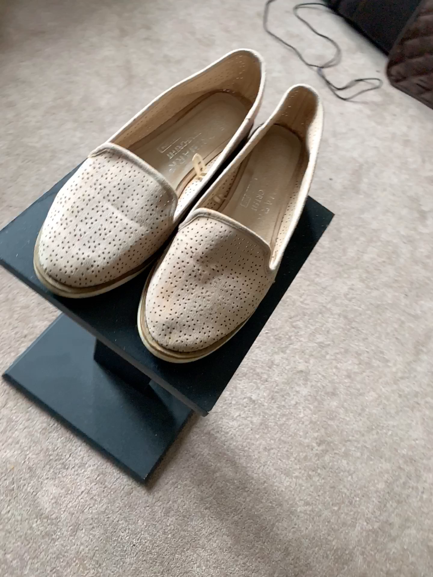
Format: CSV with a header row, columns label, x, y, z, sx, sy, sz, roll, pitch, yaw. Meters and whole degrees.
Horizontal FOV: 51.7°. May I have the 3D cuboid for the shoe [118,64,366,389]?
label,x,y,z,sx,sy,sz,roll,pitch,yaw
shoe,0.023,-0.052,0.366,0.080,0.080,0.251,31,71,-2

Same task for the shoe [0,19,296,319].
label,x,y,z,sx,sy,sz,roll,pitch,yaw
shoe,-0.047,-0.102,0.368,0.080,0.080,0.251,39,68,3
